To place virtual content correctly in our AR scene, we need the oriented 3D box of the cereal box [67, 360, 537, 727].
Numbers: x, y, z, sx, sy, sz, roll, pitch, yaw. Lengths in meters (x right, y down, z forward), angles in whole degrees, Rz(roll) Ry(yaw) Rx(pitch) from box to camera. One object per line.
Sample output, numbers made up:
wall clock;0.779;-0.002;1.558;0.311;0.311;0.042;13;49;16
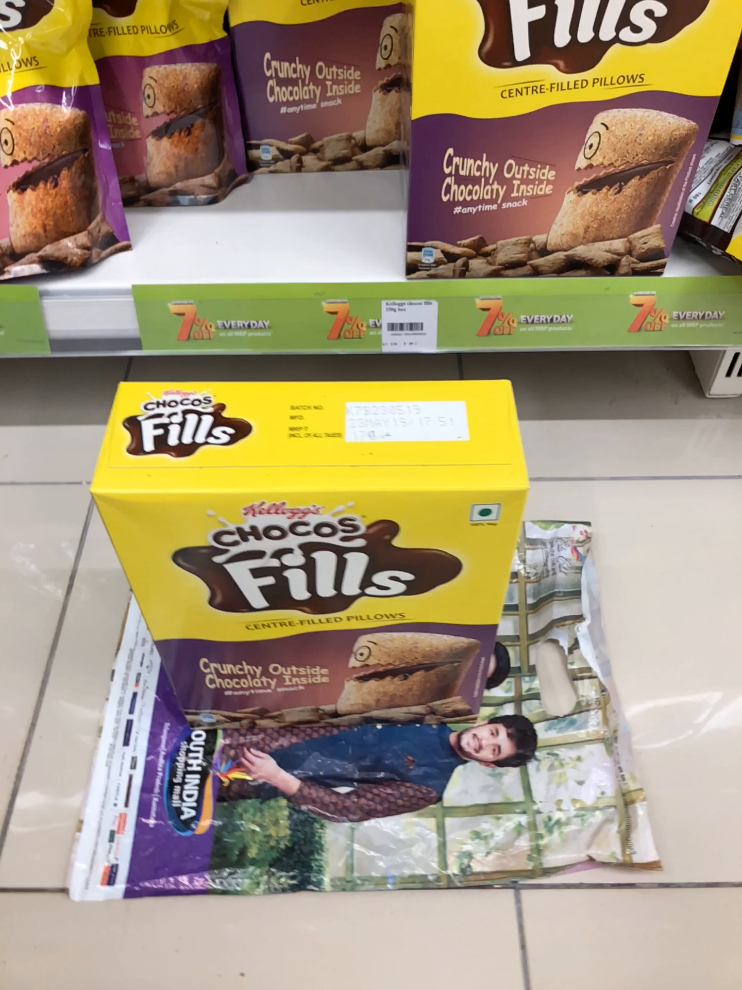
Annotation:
cereal box;-0.027;0.041;0.442;0.190;0.229;0.070;-2;51;-1
